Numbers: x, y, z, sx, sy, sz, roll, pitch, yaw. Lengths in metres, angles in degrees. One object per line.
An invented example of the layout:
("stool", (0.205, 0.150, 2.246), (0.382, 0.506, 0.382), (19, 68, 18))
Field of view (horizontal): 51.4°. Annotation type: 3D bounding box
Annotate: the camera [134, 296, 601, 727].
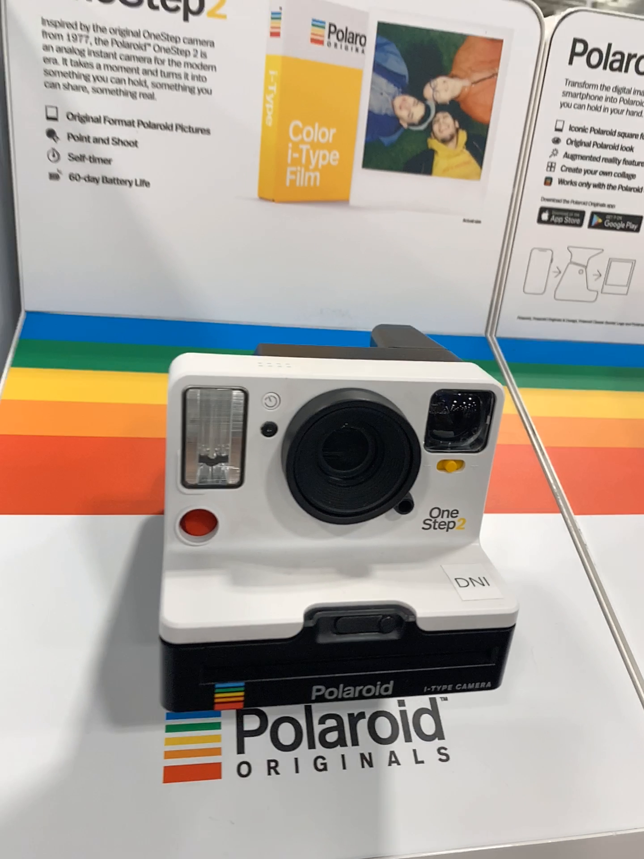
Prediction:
("camera", (-0.002, 0.014, 0.248), (0.120, 0.090, 0.145), (1, 23, -12))
